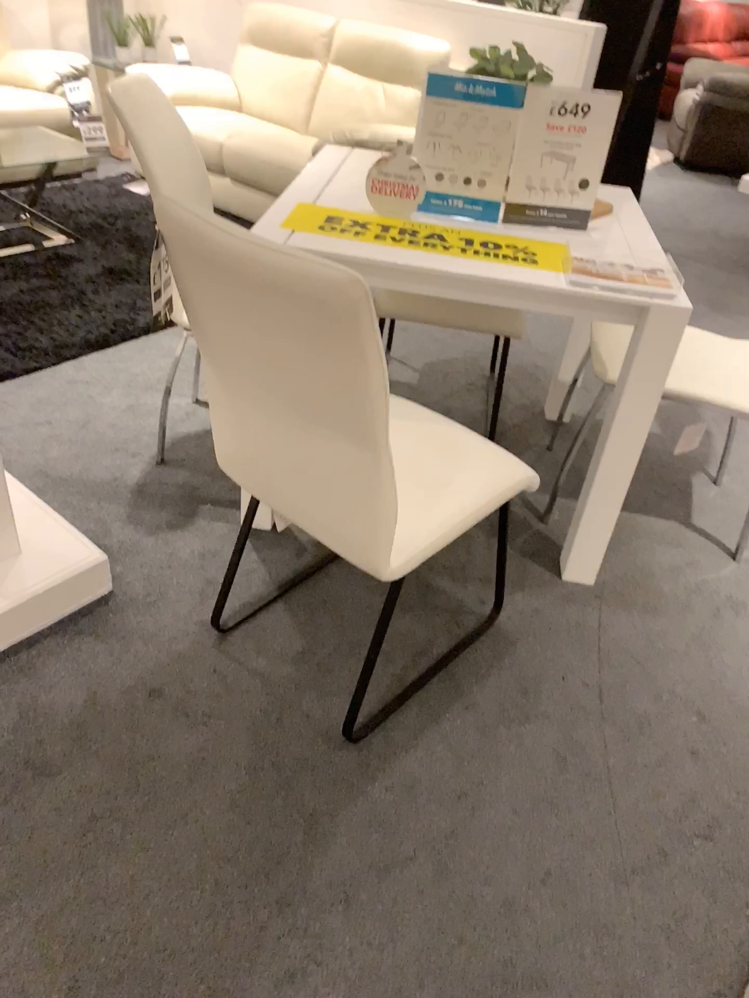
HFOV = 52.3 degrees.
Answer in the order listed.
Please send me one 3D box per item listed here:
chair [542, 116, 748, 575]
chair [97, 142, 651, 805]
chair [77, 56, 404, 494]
[{"bbox_3d":[0.822,-0.381,1.904,0.600,0.882,0.555,11,36,5],"label":"chair"},{"bbox_3d":[-0.019,-0.081,1.380,0.542,0.882,0.634,30,42,28],"label":"chair"},{"bbox_3d":[-0.305,-0.567,1.988,0.640,0.901,0.525,7,36,-1],"label":"chair"}]
